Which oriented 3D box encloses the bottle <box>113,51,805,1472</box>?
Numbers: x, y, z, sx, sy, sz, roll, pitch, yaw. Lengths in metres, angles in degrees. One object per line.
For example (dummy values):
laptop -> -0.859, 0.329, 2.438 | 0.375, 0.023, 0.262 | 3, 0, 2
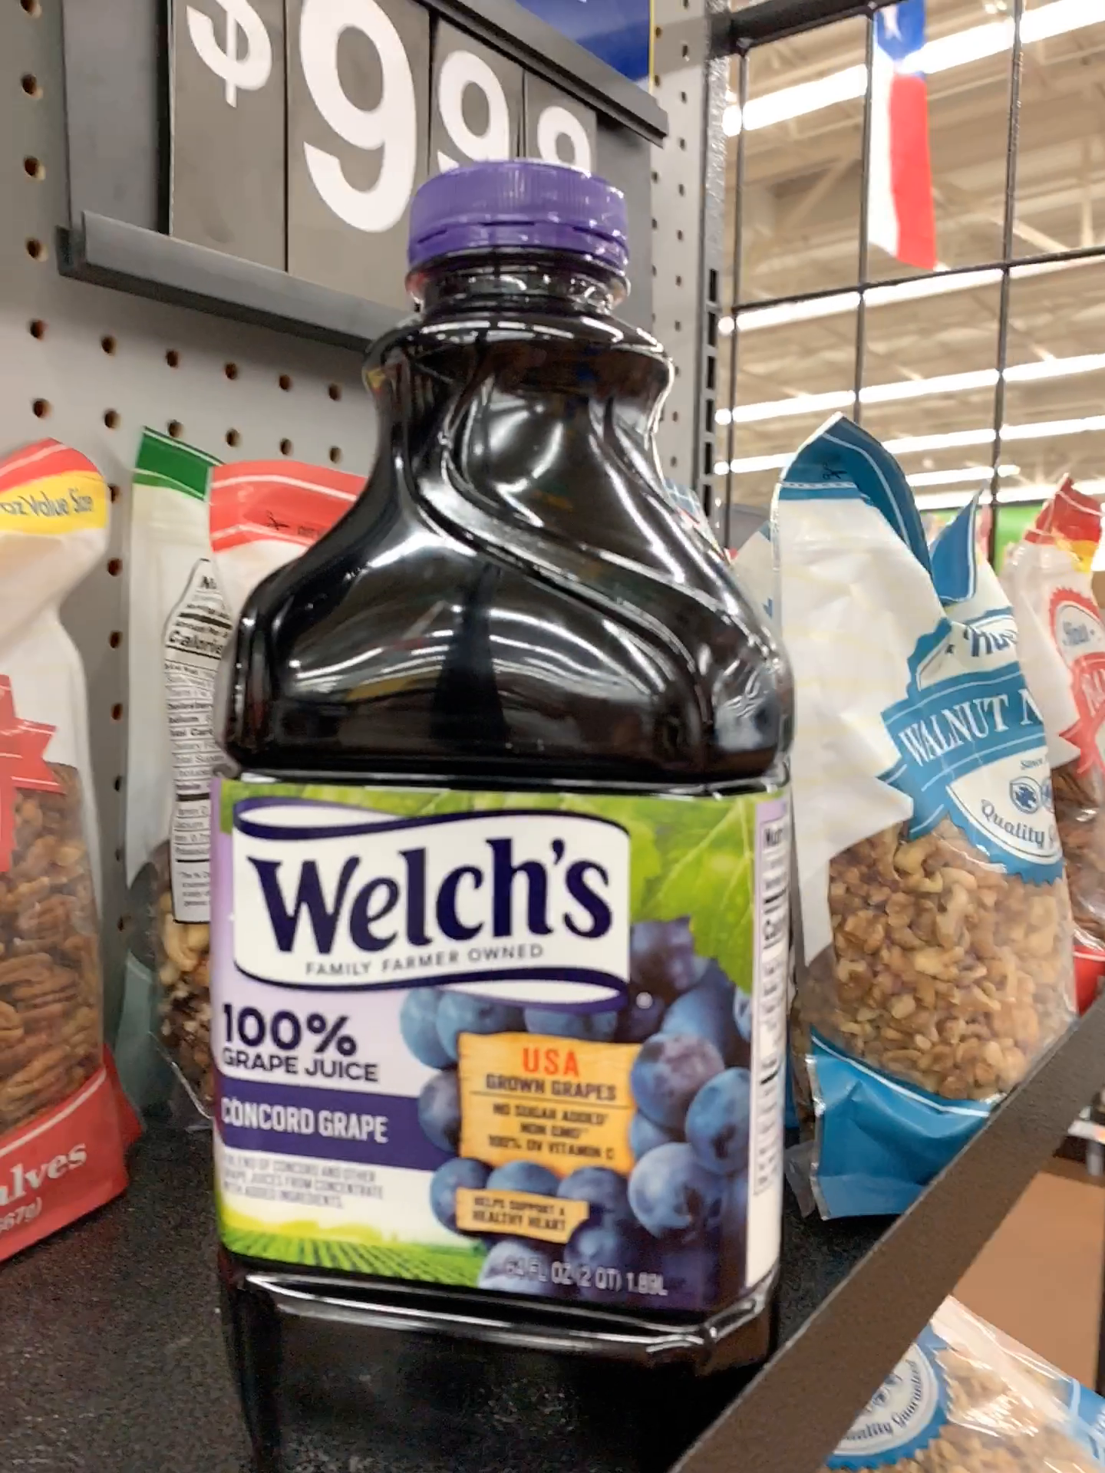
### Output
bottle -> -0.009, 0.017, 0.250 | 0.120, 0.260, 0.100 | 1, 5, 14
